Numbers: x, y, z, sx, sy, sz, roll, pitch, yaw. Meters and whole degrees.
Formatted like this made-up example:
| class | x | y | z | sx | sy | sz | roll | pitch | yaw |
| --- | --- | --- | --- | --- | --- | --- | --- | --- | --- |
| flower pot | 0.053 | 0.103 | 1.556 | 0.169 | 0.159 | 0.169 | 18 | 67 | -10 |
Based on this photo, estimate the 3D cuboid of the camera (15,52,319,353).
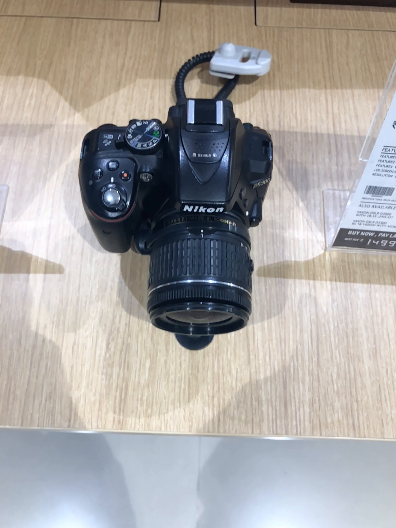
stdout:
| class | x | y | z | sx | sy | sz | roll | pitch | yaw |
| --- | --- | --- | --- | --- | --- | --- | --- | --- | --- |
| camera | -0.011 | -0.034 | 0.251 | 0.130 | 0.070 | 0.150 | 2 | 67 | 0 |
